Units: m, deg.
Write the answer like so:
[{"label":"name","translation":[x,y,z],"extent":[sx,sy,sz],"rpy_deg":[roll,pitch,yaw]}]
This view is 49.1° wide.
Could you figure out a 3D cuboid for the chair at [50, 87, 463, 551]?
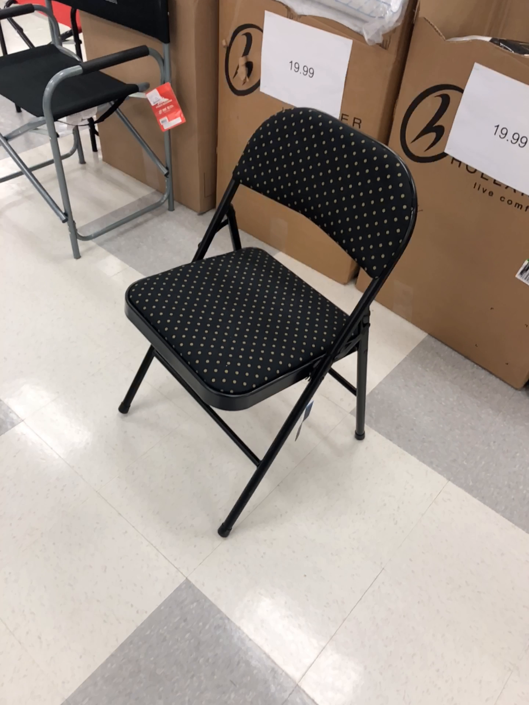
[{"label":"chair","translation":[-0.032,-0.072,1.274],"extent":[0.540,0.729,0.486],"rpy_deg":[-29,54,-28]}]
